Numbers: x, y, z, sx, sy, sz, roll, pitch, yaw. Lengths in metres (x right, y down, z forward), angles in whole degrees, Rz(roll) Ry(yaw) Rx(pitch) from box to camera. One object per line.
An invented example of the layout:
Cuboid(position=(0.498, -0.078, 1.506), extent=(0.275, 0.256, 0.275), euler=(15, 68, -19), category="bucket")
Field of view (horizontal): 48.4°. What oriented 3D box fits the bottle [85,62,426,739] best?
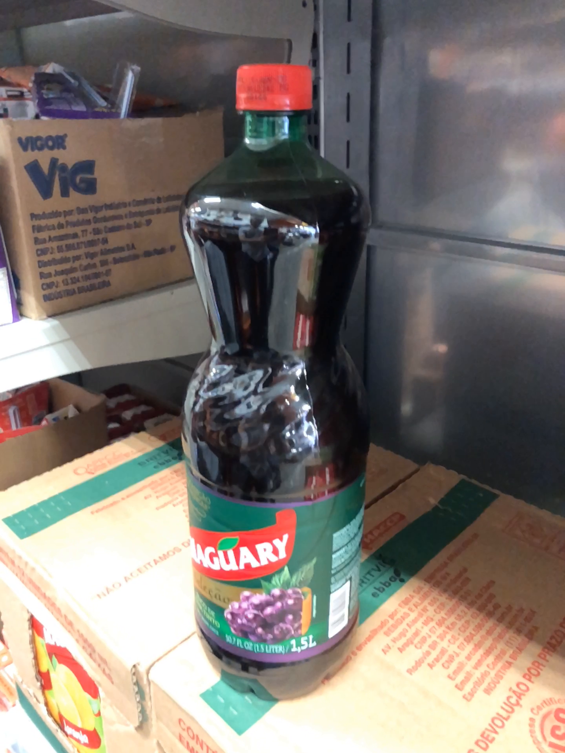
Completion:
Cuboid(position=(-0.006, 0.016, 0.293), extent=(0.100, 0.288, 0.080), euler=(12, 27, 25), category="bottle")
